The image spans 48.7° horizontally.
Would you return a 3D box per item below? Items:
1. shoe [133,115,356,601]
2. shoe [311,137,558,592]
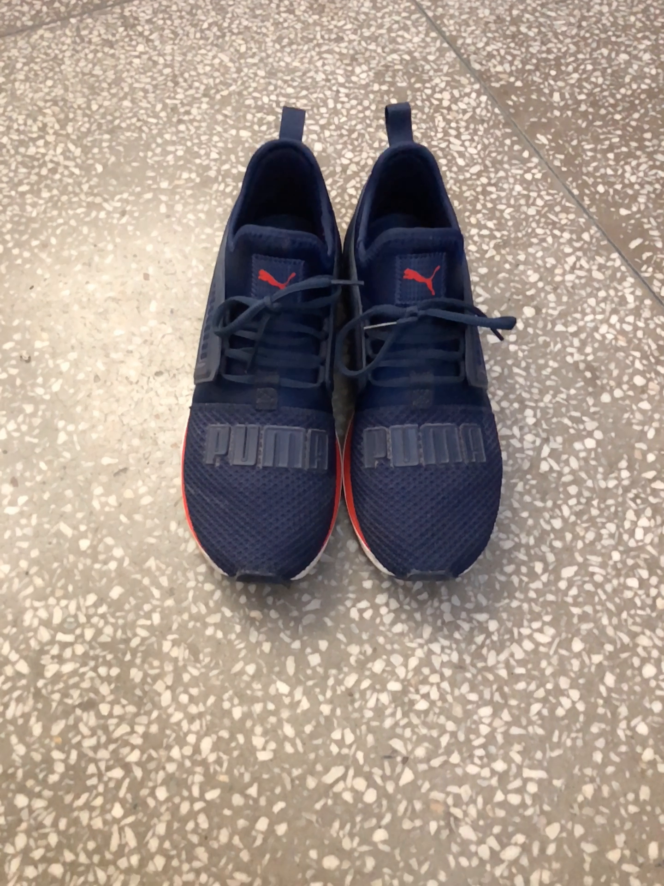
[{"bbox_3d":[-0.048,-0.055,0.433,0.100,0.100,0.270,-2,64,-3],"label":"shoe"},{"bbox_3d":[0.049,-0.044,0.433,0.100,0.120,0.230,-5,64,2],"label":"shoe"}]
